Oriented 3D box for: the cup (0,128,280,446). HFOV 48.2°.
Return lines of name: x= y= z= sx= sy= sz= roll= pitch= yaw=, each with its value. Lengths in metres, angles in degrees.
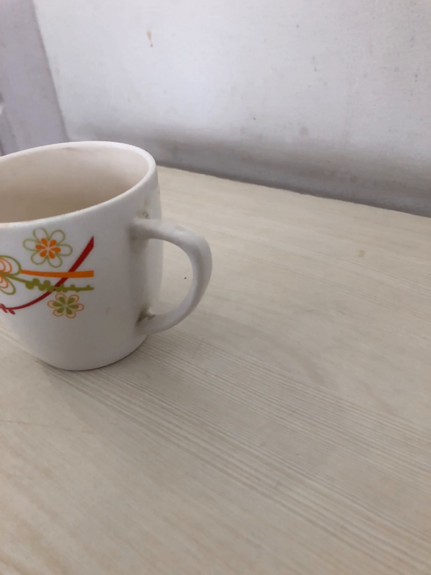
cup: x=-0.041 y=-0.010 z=0.180 sx=0.110 sy=0.070 sz=0.070 roll=14 pitch=39 yaw=26
